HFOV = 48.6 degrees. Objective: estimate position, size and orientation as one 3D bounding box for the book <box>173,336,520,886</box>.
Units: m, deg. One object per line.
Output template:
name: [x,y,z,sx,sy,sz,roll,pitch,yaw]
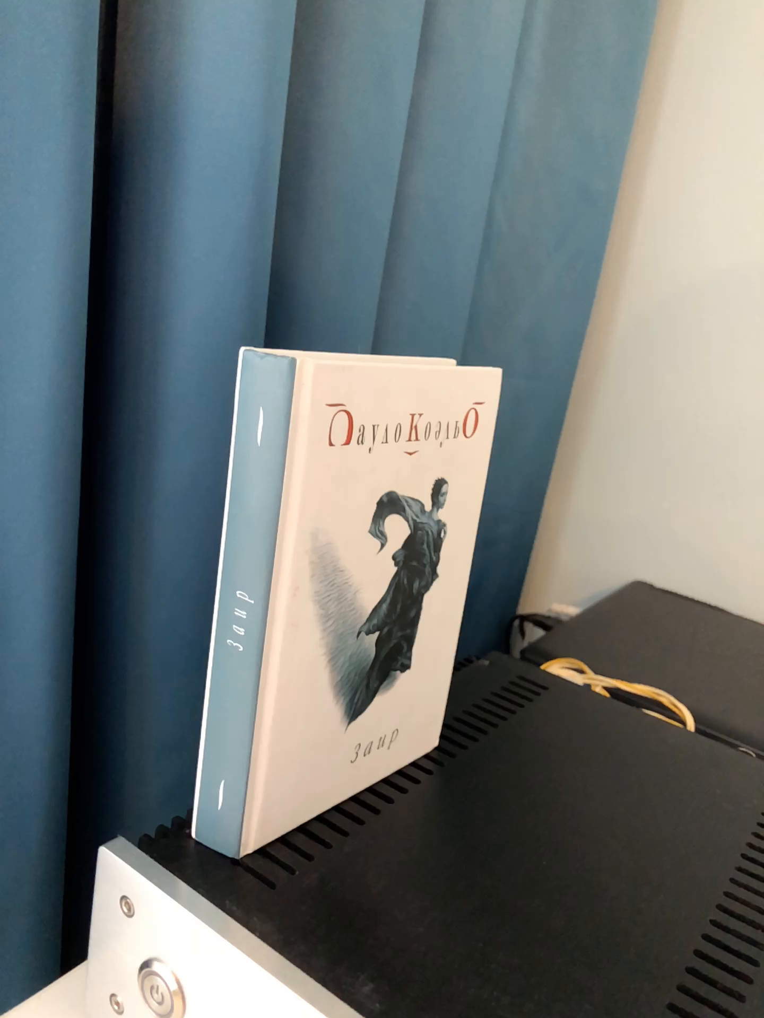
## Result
book: [-0.009,0.030,0.322,0.030,0.179,0.130,19,17,36]
